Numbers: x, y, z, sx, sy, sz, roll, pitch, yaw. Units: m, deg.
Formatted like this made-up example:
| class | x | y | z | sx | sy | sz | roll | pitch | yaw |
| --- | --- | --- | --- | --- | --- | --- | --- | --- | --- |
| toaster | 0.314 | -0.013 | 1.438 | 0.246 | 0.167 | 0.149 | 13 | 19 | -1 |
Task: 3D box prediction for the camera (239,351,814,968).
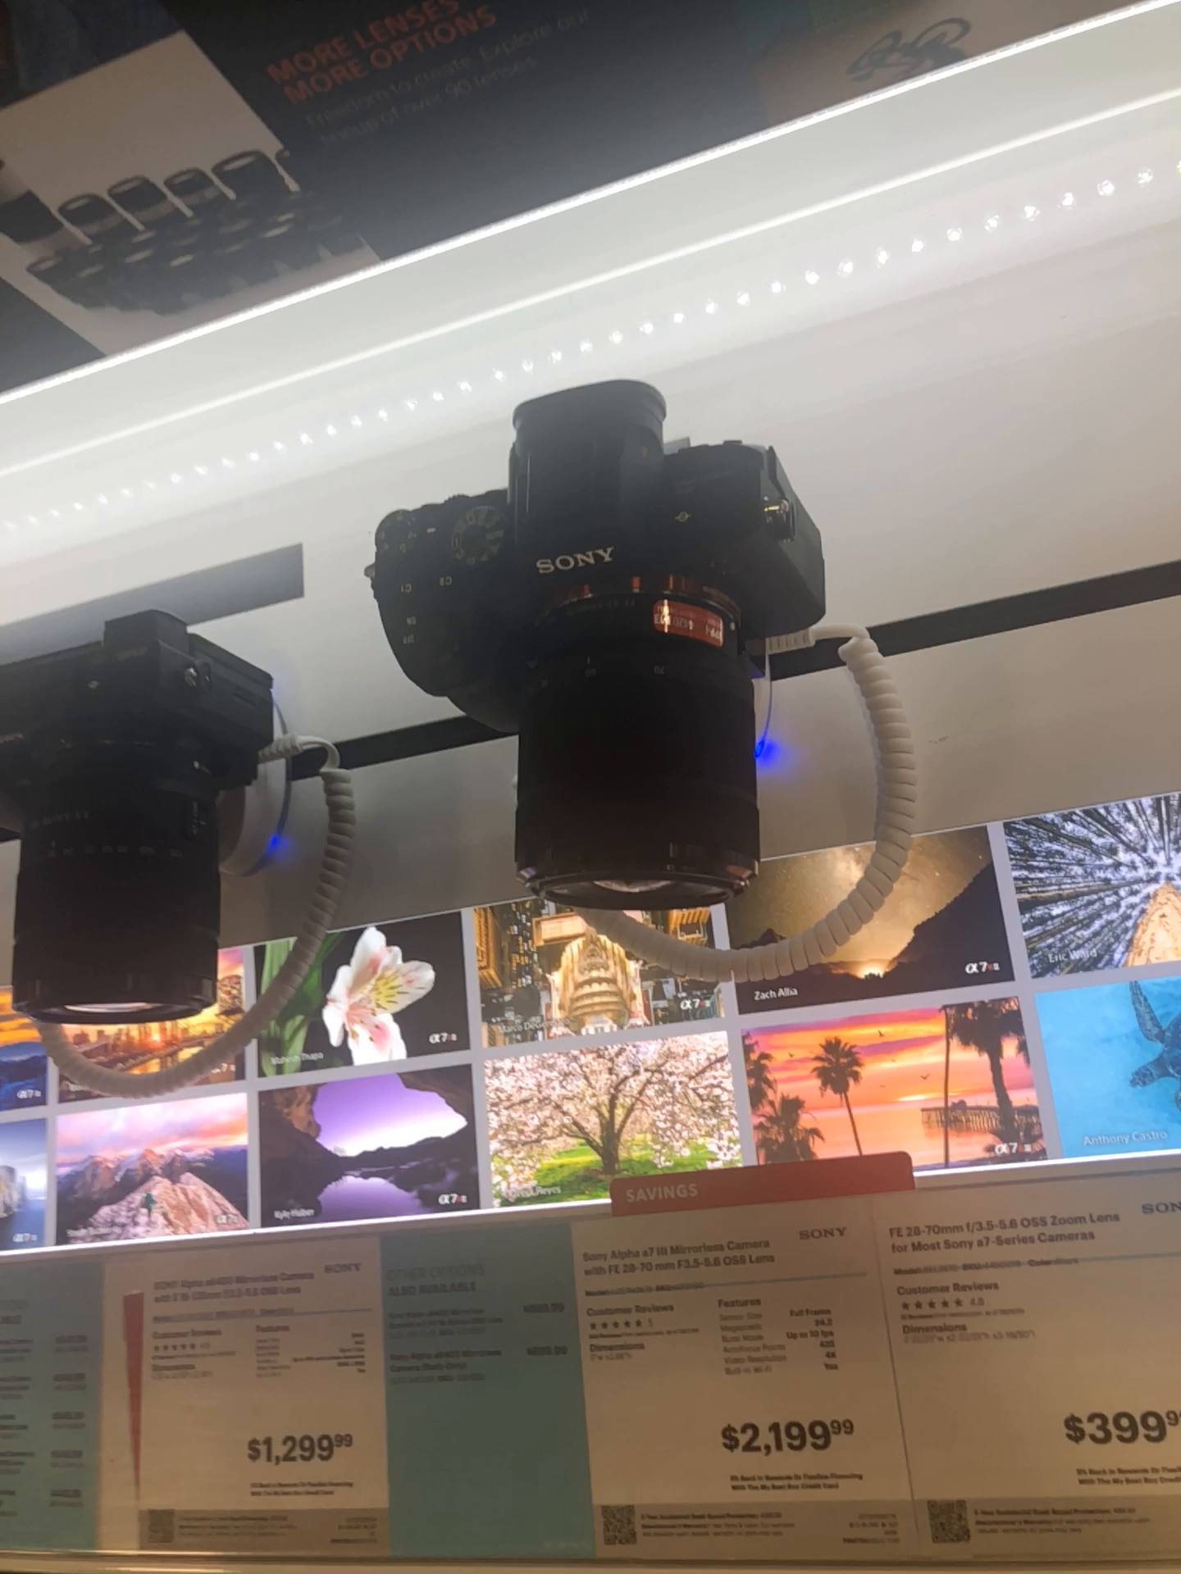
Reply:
| class | x | y | z | sx | sy | sz | roll | pitch | yaw |
| --- | --- | --- | --- | --- | --- | --- | --- | --- | --- |
| camera | -0.019 | -0.027 | 0.390 | 0.140 | 0.090 | 0.140 | -9 | 74 | 19 |
